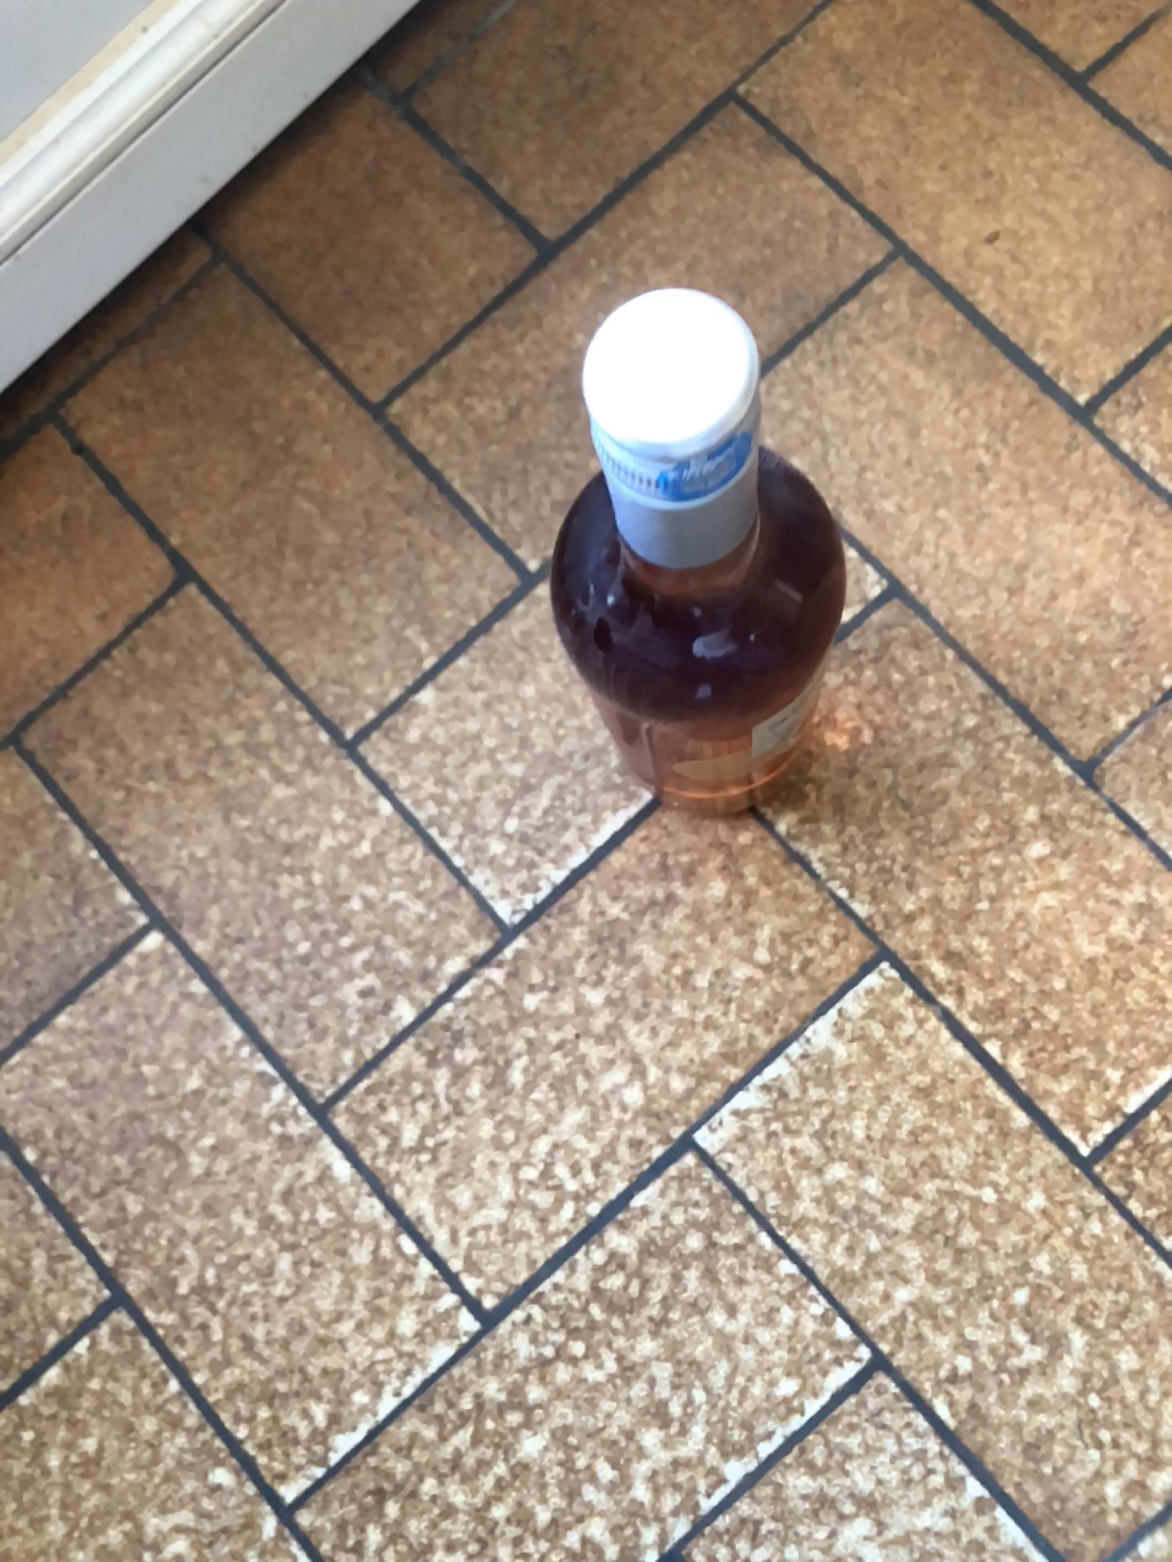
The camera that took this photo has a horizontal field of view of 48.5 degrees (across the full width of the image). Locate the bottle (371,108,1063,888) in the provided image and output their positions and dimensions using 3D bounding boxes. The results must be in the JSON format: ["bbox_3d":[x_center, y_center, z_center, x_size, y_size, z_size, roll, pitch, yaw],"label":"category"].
[{"bbox_3d":[0.036,-0.036,0.350,0.080,0.290,0.080,-1,81,6],"label":"bottle"}]
